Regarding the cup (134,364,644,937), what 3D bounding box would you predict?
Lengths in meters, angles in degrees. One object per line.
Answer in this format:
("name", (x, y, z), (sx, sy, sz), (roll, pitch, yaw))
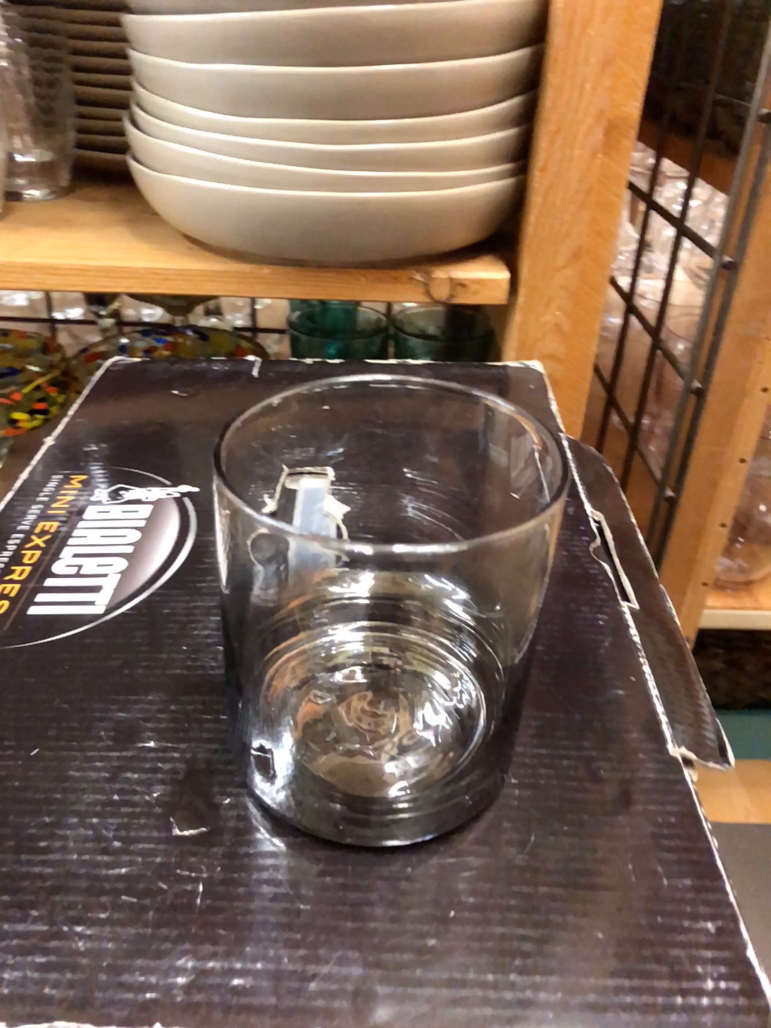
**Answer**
("cup", (-0.004, 0.027, 0.226), (0.085, 0.093, 0.090), (2, 32, -1))
